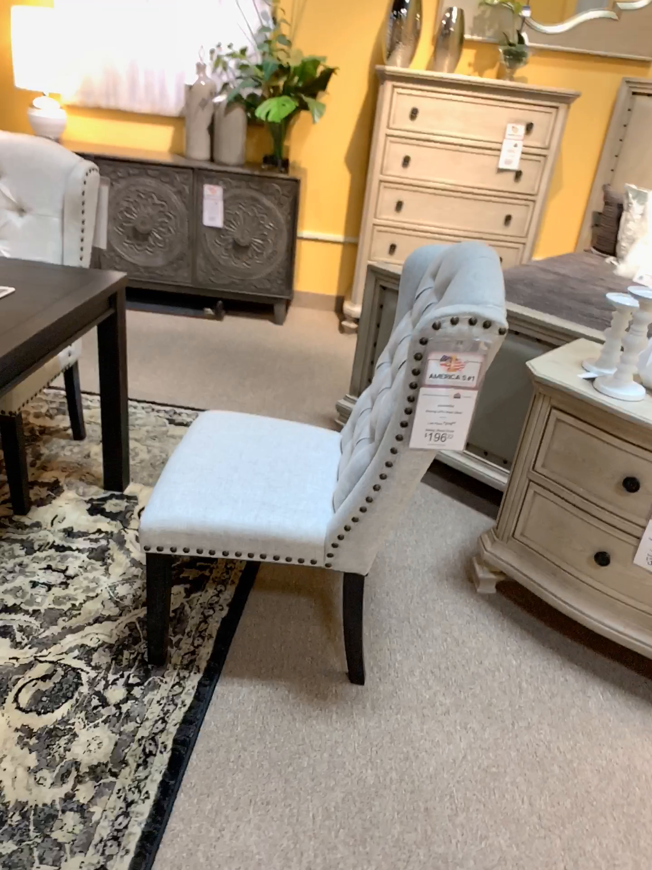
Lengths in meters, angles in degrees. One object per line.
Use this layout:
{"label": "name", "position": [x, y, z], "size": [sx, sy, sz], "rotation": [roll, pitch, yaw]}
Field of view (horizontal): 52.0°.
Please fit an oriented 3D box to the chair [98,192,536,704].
{"label": "chair", "position": [-0.043, 0.013, 1.607], "size": [0.741, 0.973, 0.590], "rotation": [8, 28, 2]}
